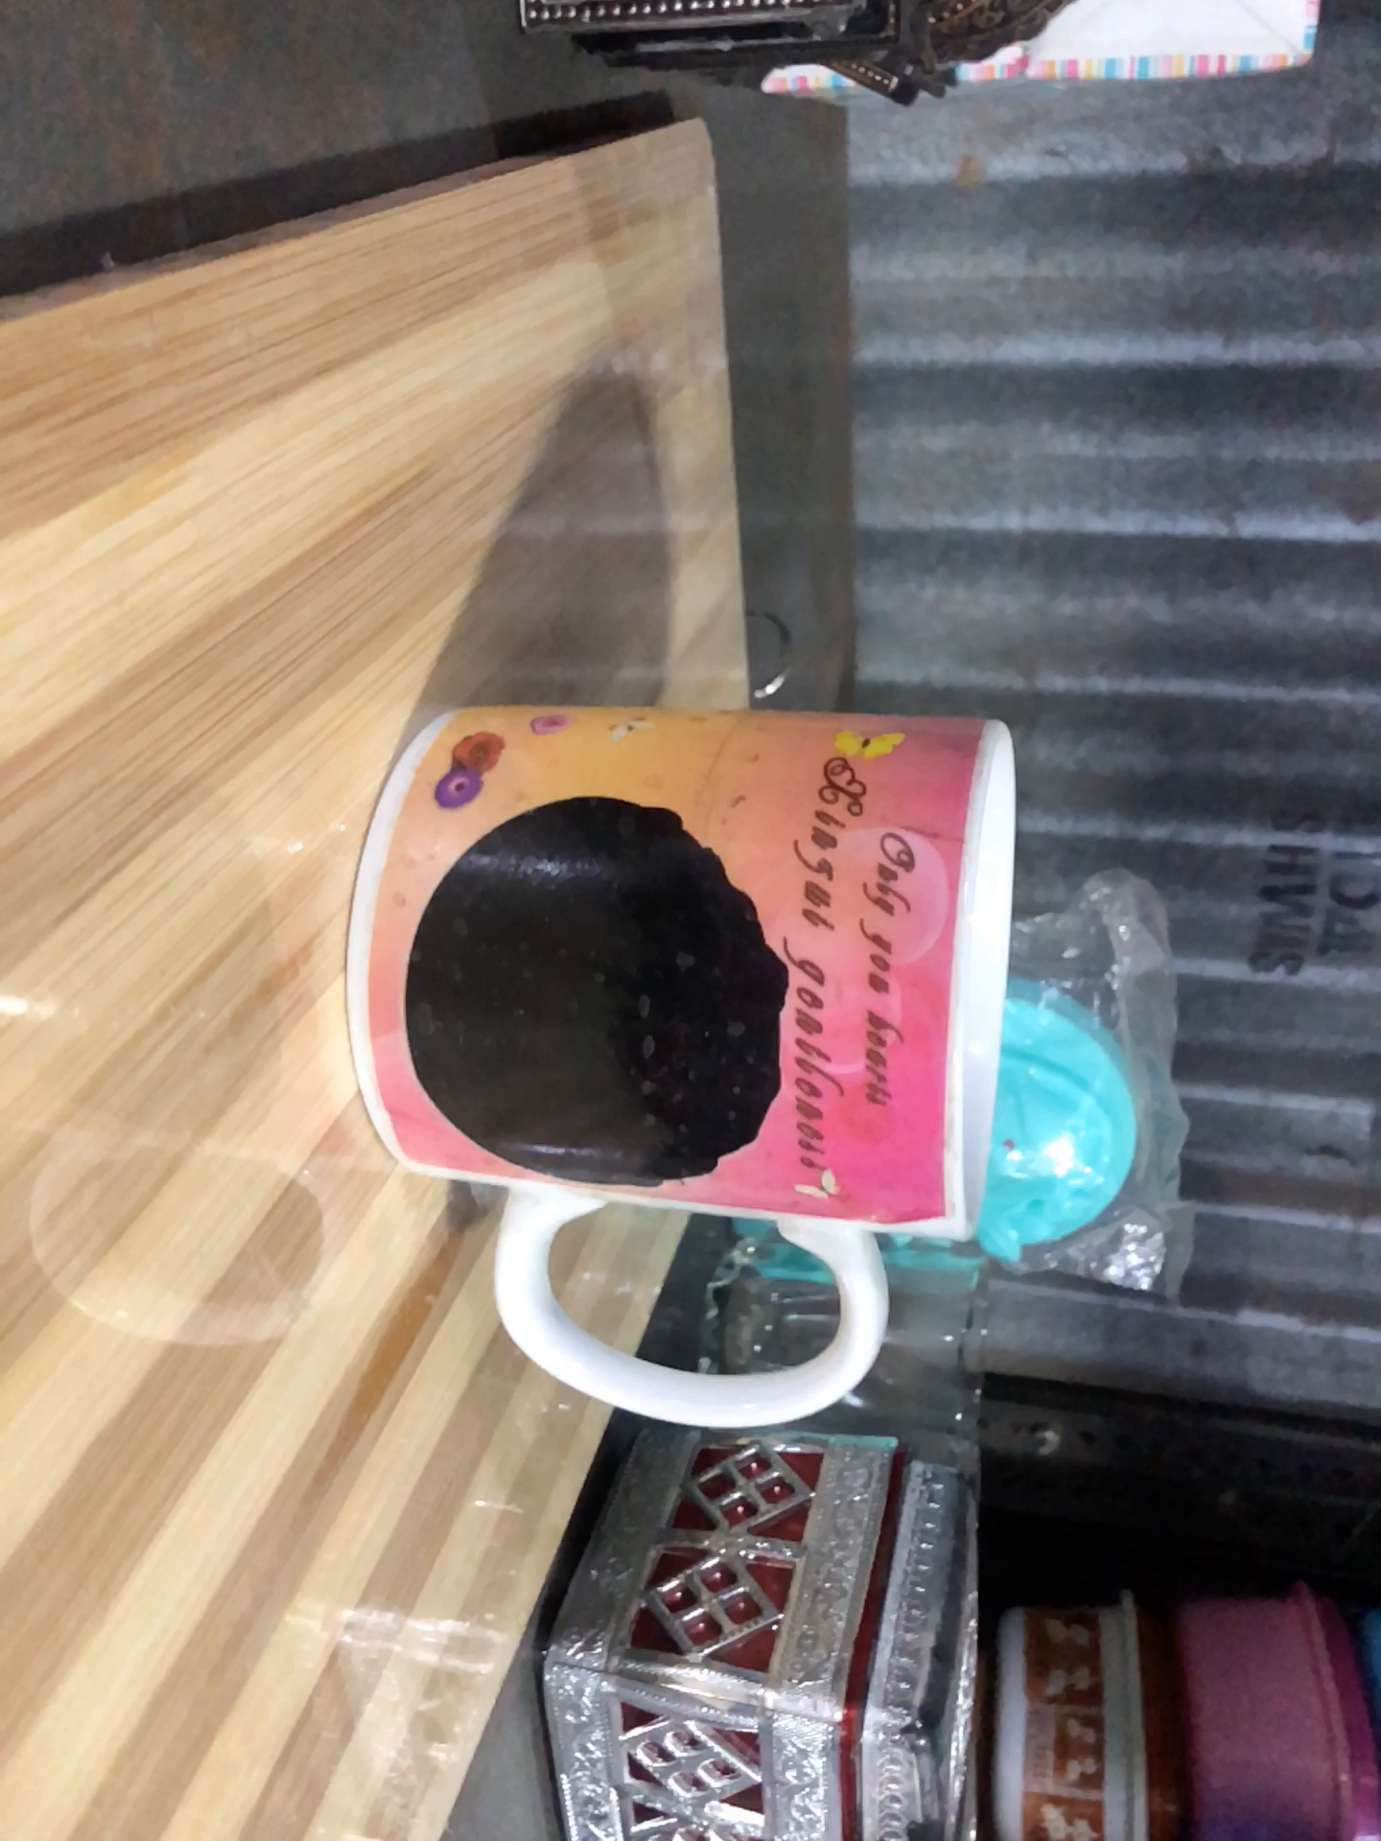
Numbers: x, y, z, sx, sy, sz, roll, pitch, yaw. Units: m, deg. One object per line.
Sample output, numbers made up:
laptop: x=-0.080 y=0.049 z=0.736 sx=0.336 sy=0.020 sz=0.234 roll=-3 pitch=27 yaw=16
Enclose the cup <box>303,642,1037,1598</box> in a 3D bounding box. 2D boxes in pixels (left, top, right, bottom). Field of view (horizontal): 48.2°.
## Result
cup: x=0.005 y=0.025 z=0.252 sx=0.090 sy=0.090 sz=0.120 roll=10 pitch=84 yaw=-76
